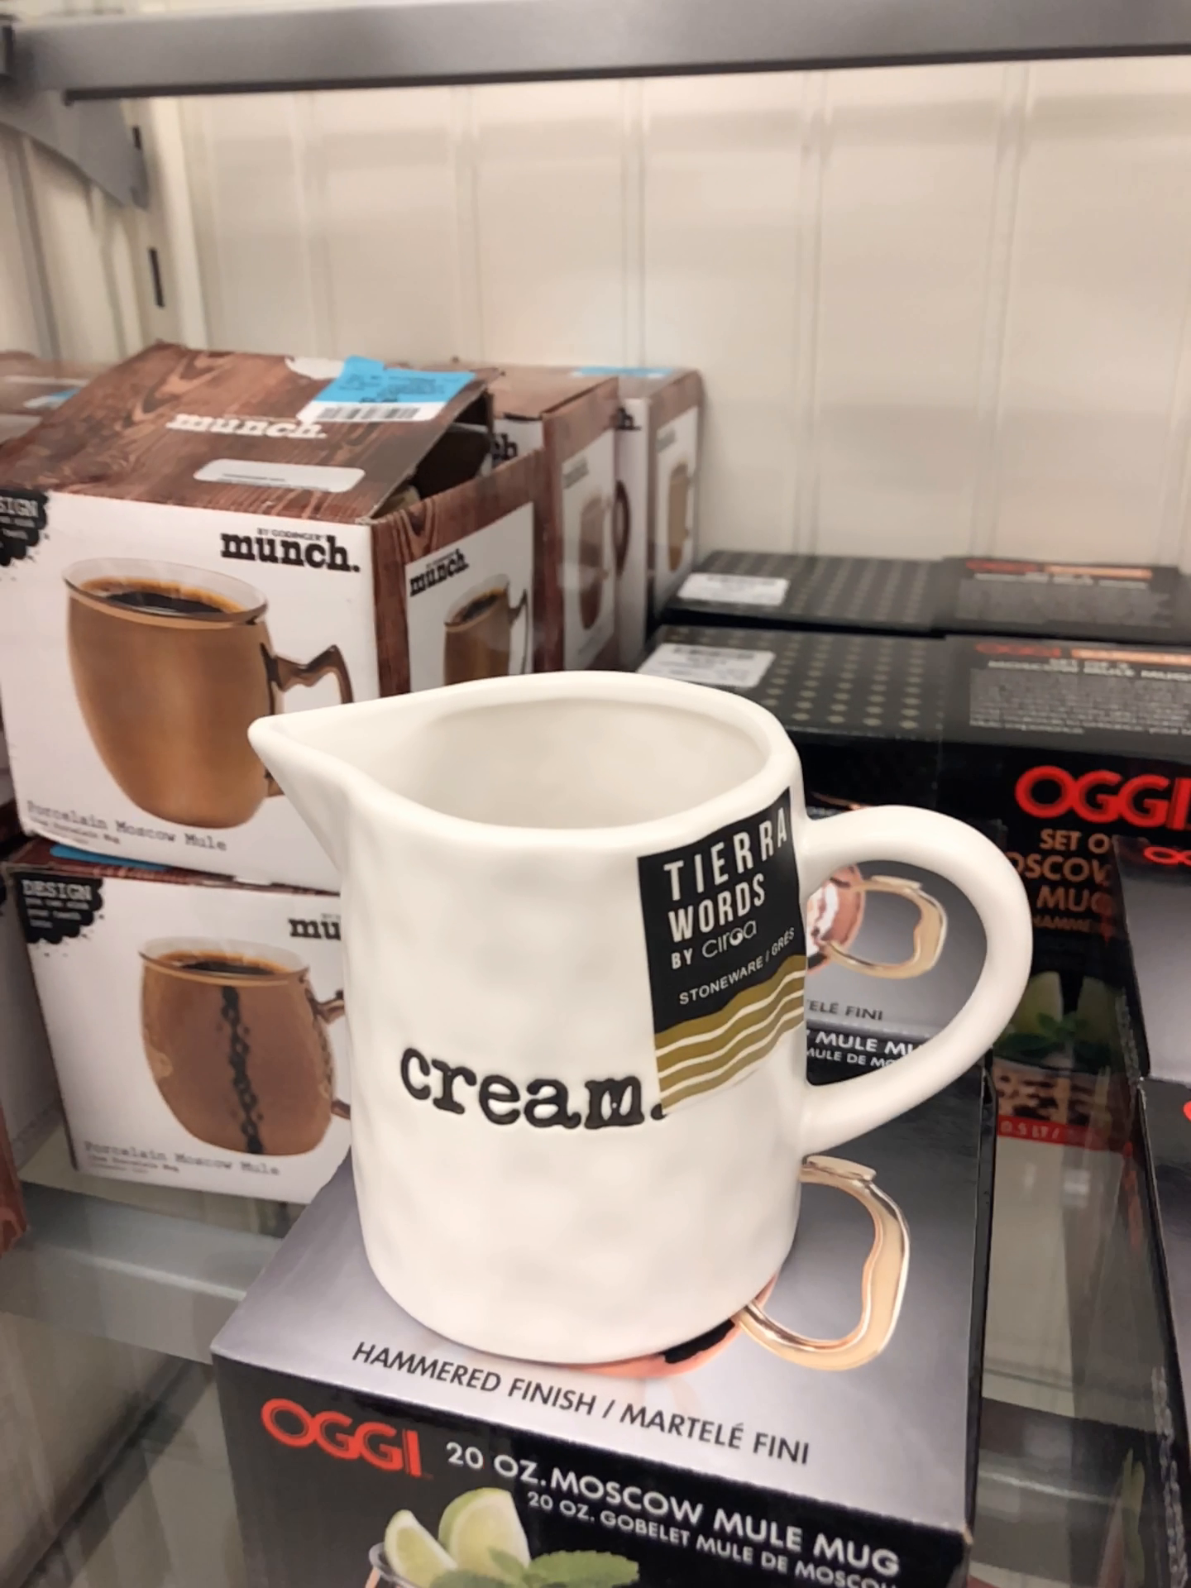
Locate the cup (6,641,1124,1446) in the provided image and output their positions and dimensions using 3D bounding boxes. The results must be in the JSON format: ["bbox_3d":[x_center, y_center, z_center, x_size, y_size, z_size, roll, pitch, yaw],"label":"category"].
[{"bbox_3d":[-0.001,0.029,0.189,0.125,0.080,0.063,3,24,10],"label":"cup"}]
